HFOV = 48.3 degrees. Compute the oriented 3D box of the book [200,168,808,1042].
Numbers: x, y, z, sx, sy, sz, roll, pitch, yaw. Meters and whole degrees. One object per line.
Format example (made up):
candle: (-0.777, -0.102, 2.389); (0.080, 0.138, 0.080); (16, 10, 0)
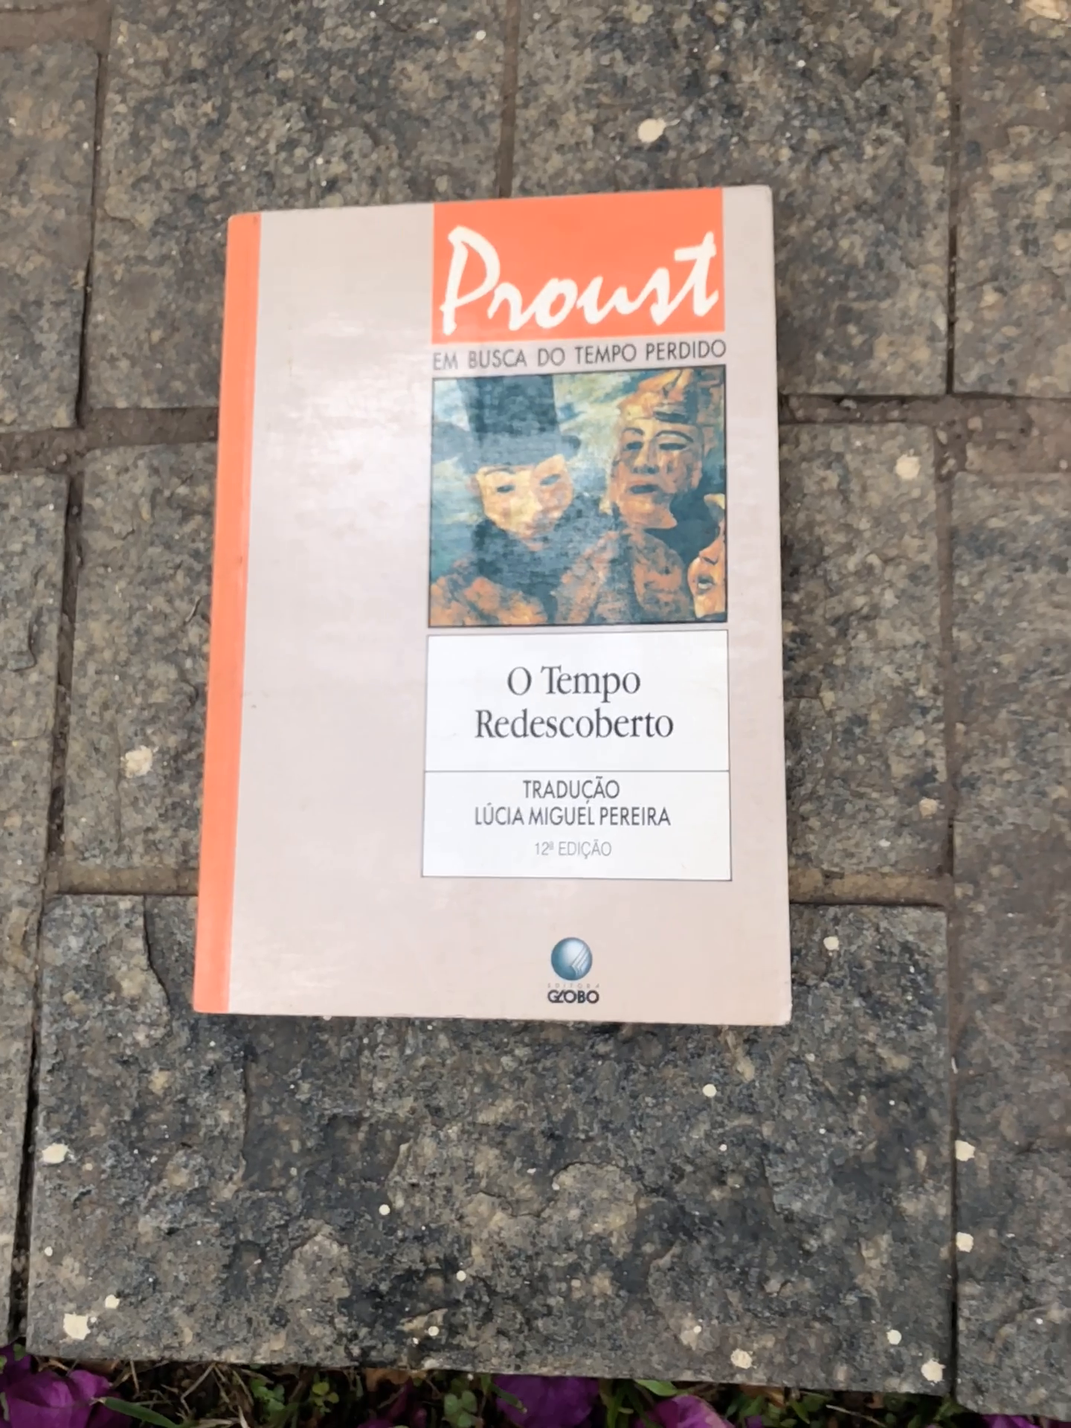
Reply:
book: (-0.007, -0.027, 0.285); (0.134, 0.023, 0.199); (0, 83, 6)
